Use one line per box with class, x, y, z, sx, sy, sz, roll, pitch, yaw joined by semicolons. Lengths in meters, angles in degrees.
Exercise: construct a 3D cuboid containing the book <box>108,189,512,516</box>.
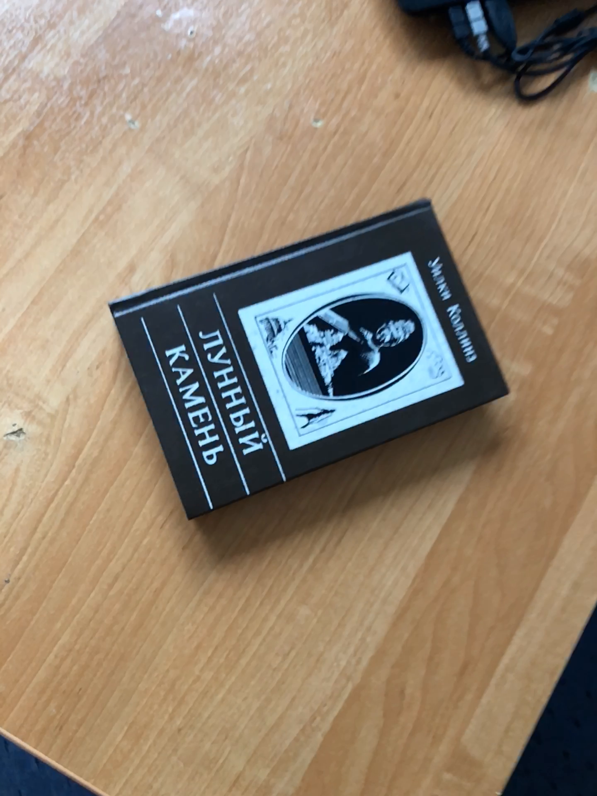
book;0.007;-0.029;0.393;0.199;0.032;0.133;-20;83;-9
